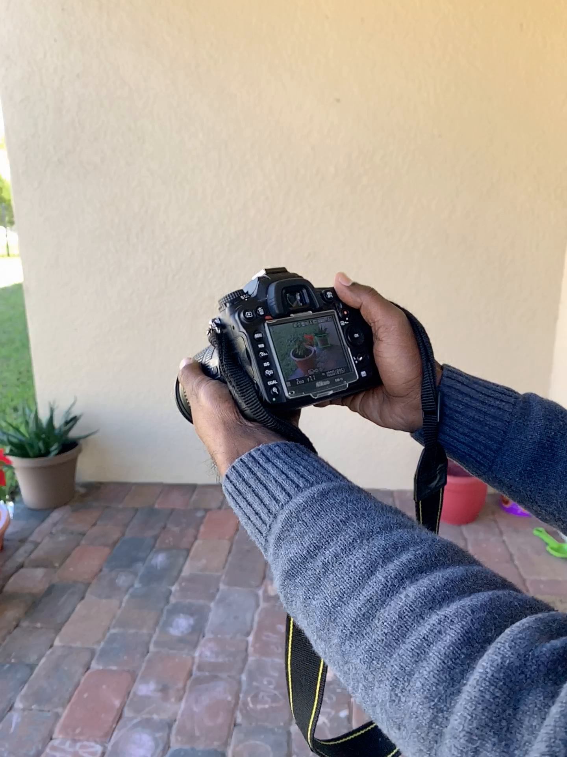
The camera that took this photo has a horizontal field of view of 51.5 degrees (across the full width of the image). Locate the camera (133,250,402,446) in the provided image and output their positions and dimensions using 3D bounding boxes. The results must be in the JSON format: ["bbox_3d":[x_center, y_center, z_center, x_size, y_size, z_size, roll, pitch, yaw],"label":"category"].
[{"bbox_3d":[-0.025,-0.021,0.519,0.130,0.101,0.199,-13,-7,-36],"label":"camera"}]
